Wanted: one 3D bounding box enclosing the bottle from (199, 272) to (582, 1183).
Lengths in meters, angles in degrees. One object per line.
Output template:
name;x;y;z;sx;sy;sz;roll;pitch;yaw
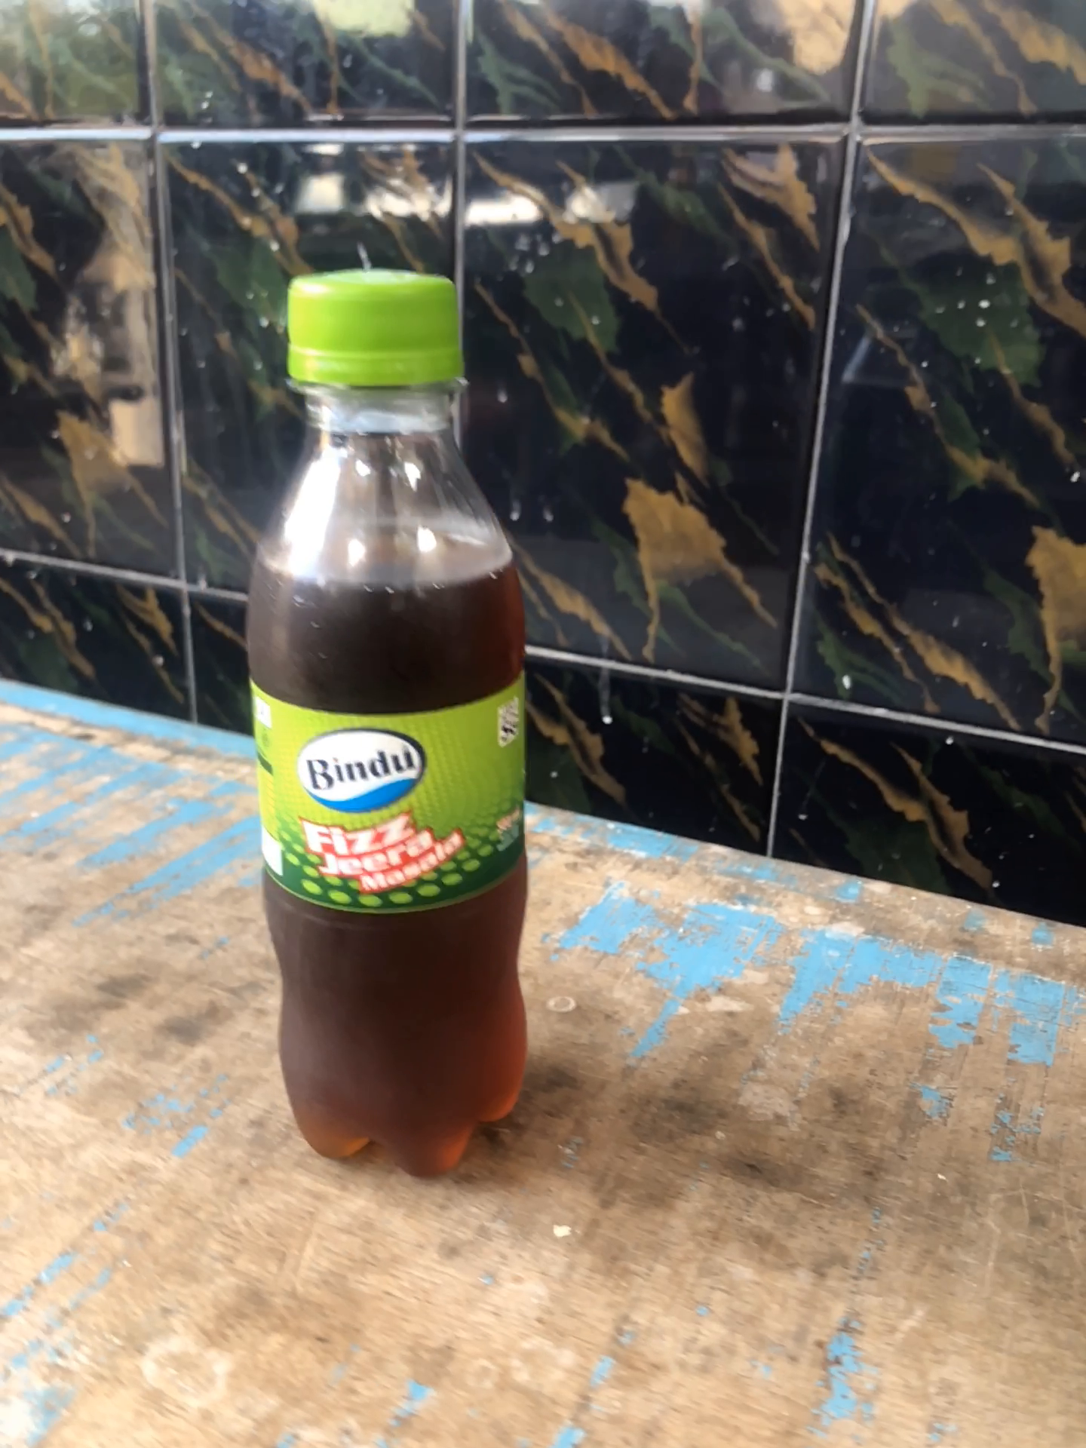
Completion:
bottle;-0.027;0.002;0.256;0.060;0.179;0.060;2;21;-1
